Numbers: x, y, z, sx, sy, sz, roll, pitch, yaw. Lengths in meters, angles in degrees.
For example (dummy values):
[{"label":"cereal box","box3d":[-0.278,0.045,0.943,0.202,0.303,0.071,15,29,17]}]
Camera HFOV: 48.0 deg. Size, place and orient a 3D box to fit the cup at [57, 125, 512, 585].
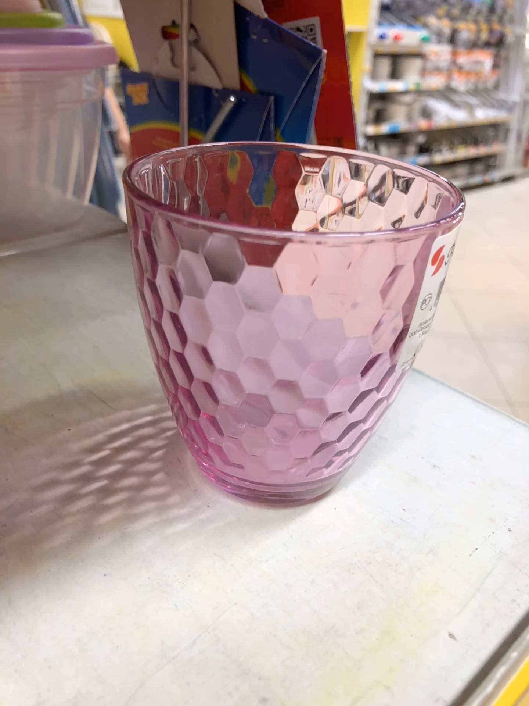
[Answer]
[{"label":"cup","box3d":[0.009,-0.011,0.164,0.078,0.074,0.090,20,34,23]}]
